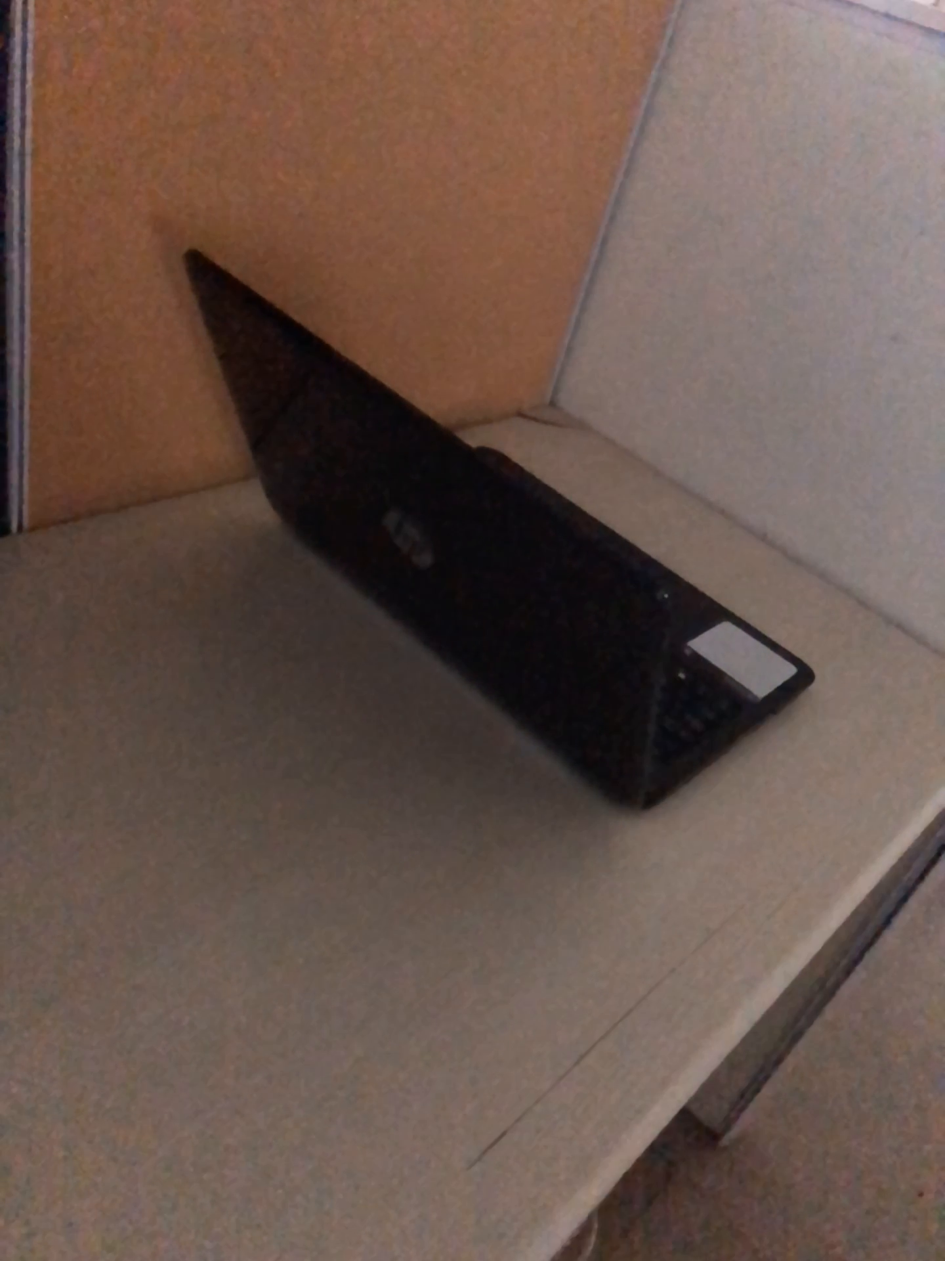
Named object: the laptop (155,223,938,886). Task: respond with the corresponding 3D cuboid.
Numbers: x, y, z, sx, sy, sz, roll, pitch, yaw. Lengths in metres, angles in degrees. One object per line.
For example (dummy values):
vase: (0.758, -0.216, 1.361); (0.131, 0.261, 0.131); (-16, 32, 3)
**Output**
laptop: (0.045, -0.096, 0.714); (0.356, 0.205, 0.353); (38, 41, 26)
